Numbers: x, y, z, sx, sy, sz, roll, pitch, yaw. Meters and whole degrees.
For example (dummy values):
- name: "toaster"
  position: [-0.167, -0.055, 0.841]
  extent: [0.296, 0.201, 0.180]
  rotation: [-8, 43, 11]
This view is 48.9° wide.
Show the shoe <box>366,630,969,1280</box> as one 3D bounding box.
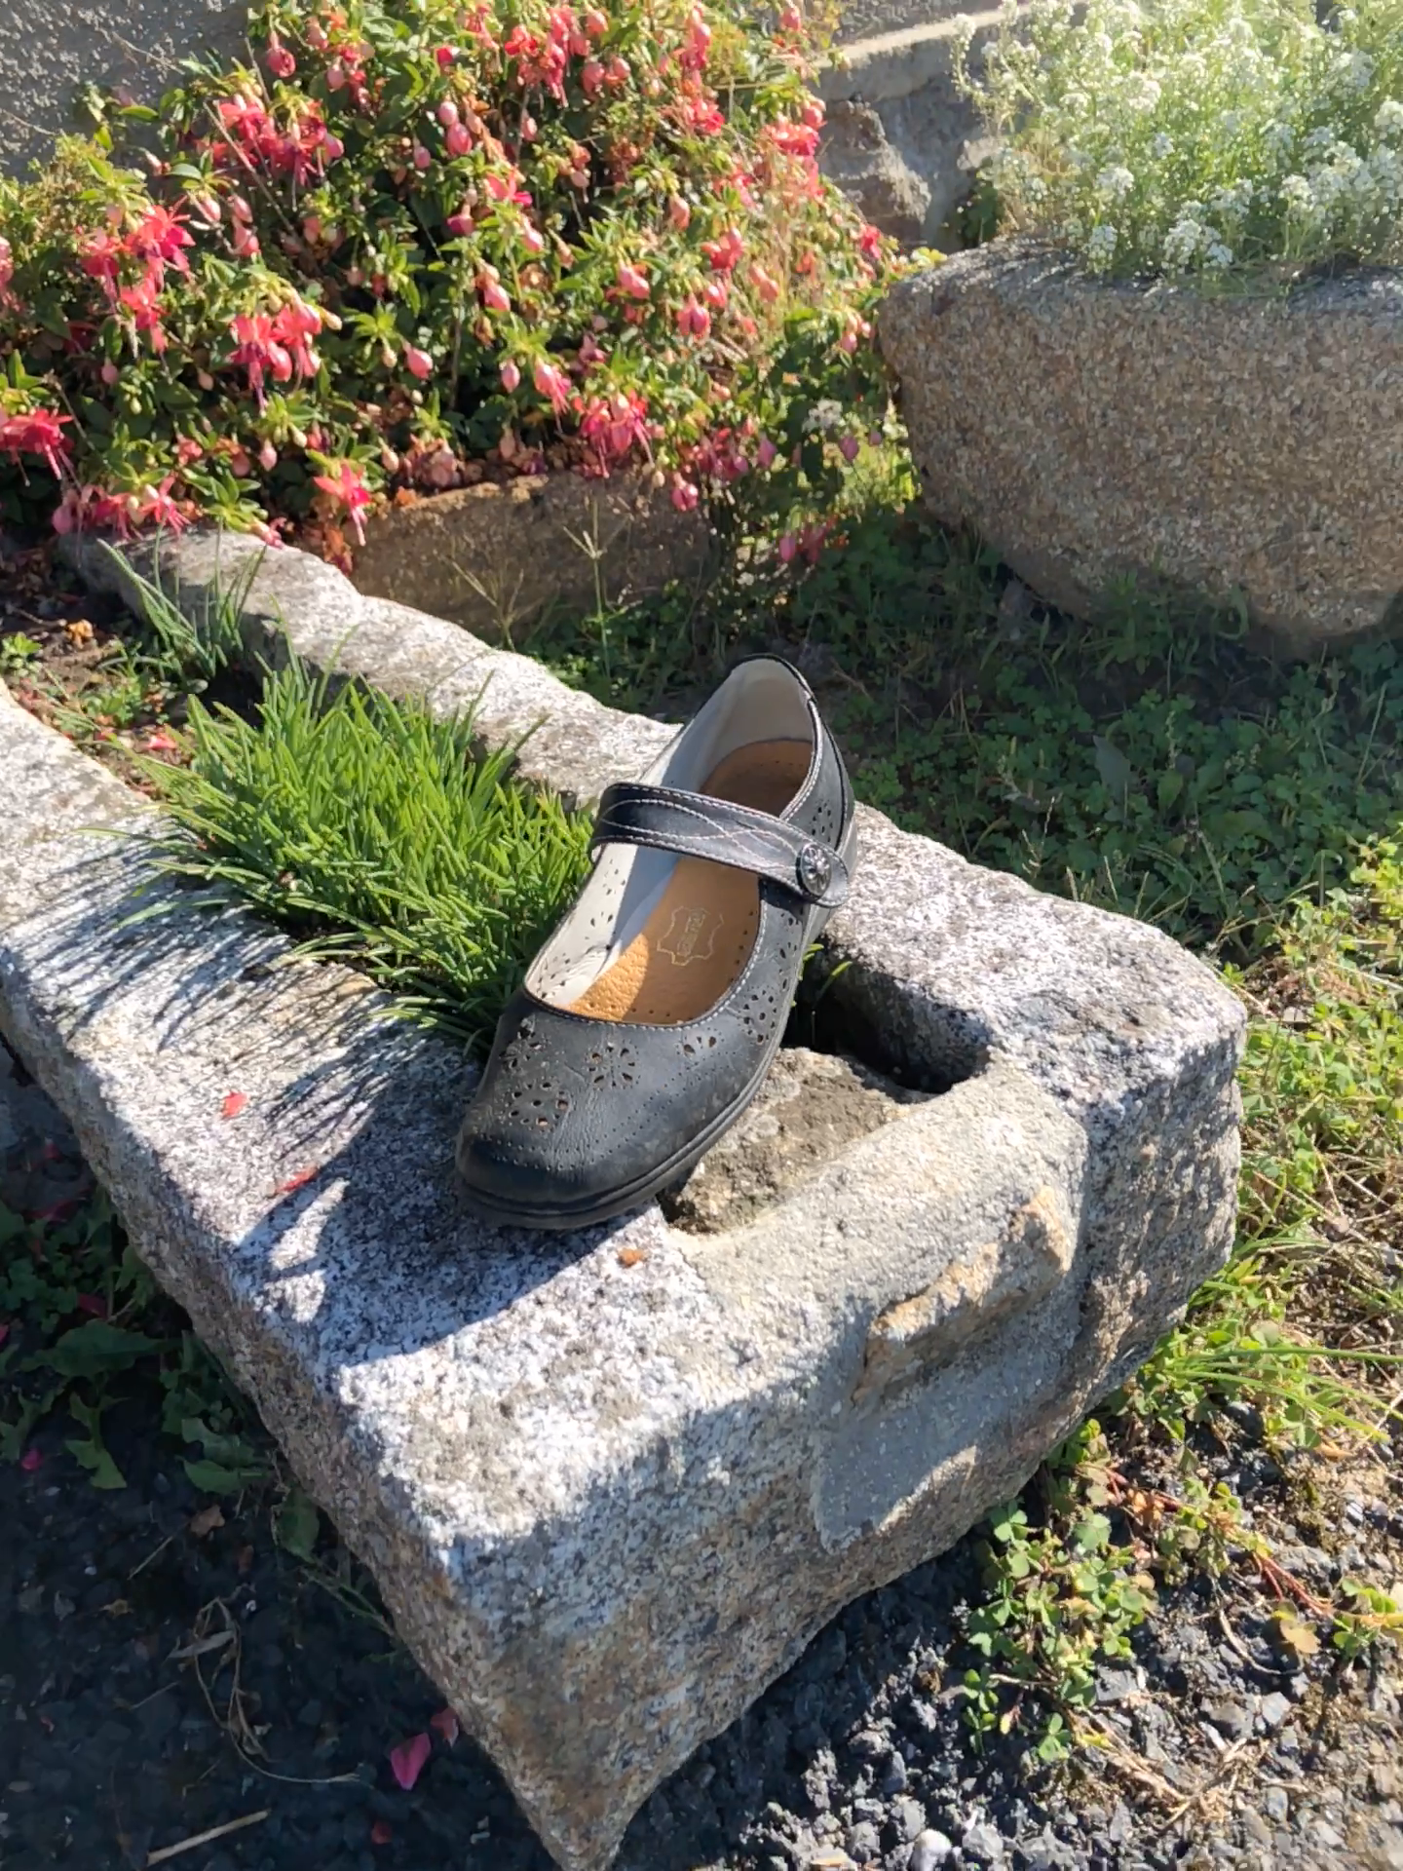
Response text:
- name: "shoe"
  position: [0.006, -0.011, 0.558]
  extent: [0.100, 0.099, 0.252]
  rotation: [9, 37, 26]
